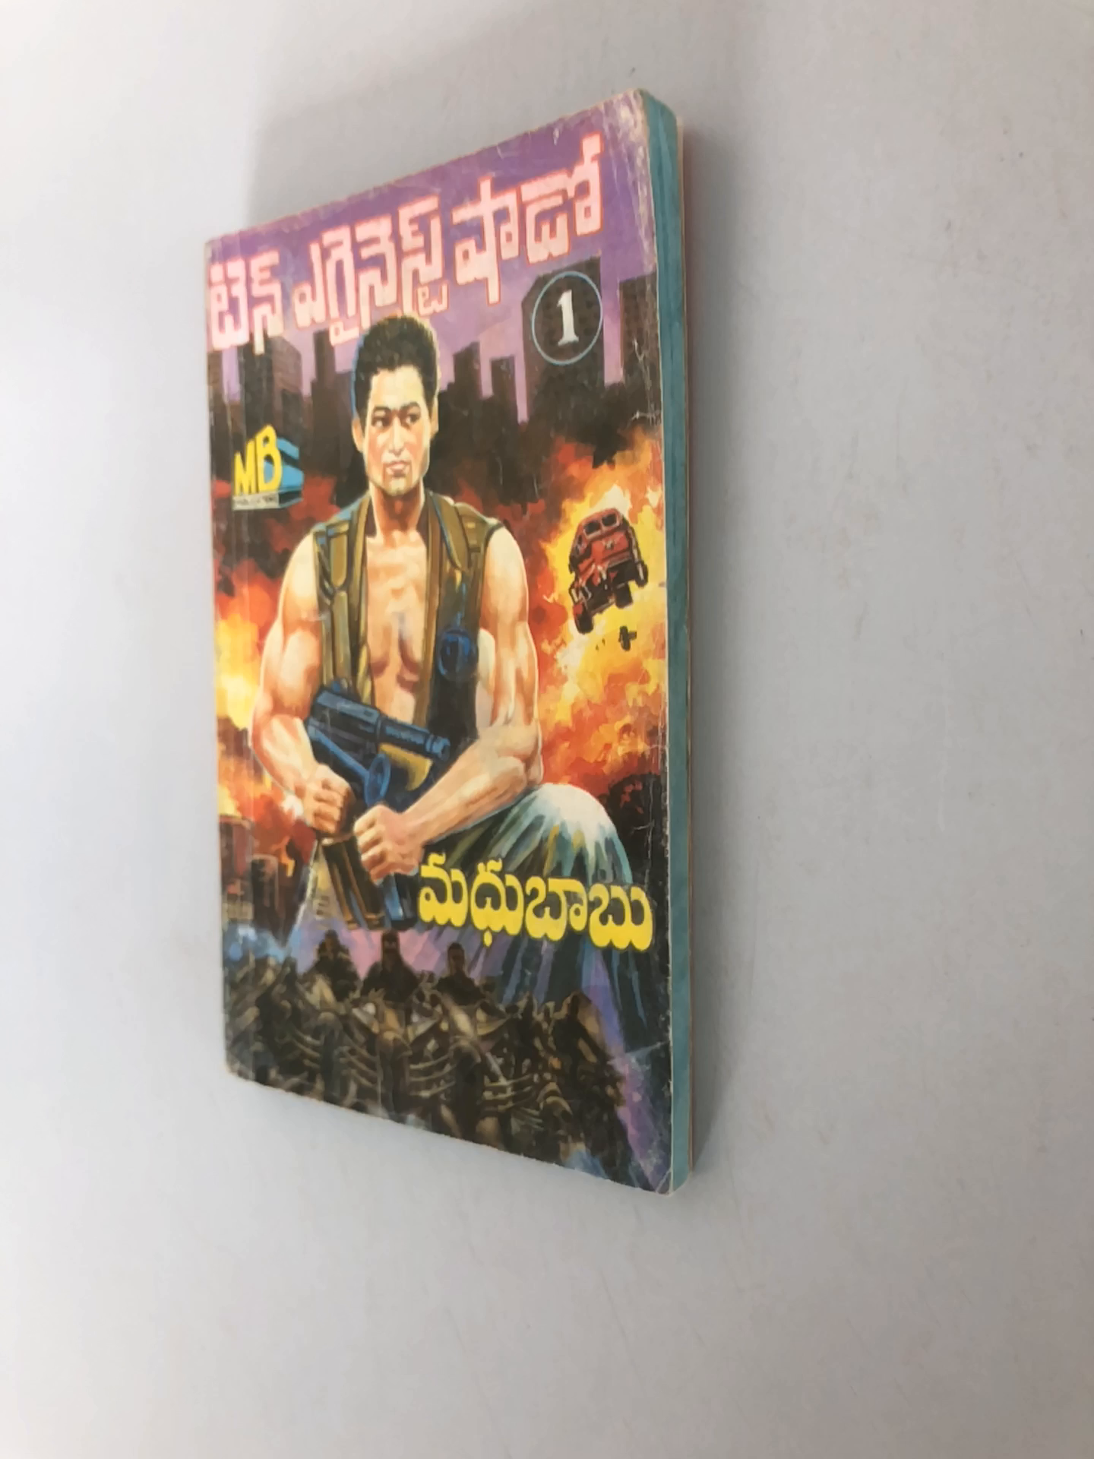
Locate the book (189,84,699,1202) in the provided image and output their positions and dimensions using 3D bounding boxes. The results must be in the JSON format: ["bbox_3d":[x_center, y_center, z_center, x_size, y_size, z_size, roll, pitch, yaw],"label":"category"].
[{"bbox_3d":[-0.022,-0.011,0.201,0.100,0.010,0.151,1,92,37],"label":"book"}]
